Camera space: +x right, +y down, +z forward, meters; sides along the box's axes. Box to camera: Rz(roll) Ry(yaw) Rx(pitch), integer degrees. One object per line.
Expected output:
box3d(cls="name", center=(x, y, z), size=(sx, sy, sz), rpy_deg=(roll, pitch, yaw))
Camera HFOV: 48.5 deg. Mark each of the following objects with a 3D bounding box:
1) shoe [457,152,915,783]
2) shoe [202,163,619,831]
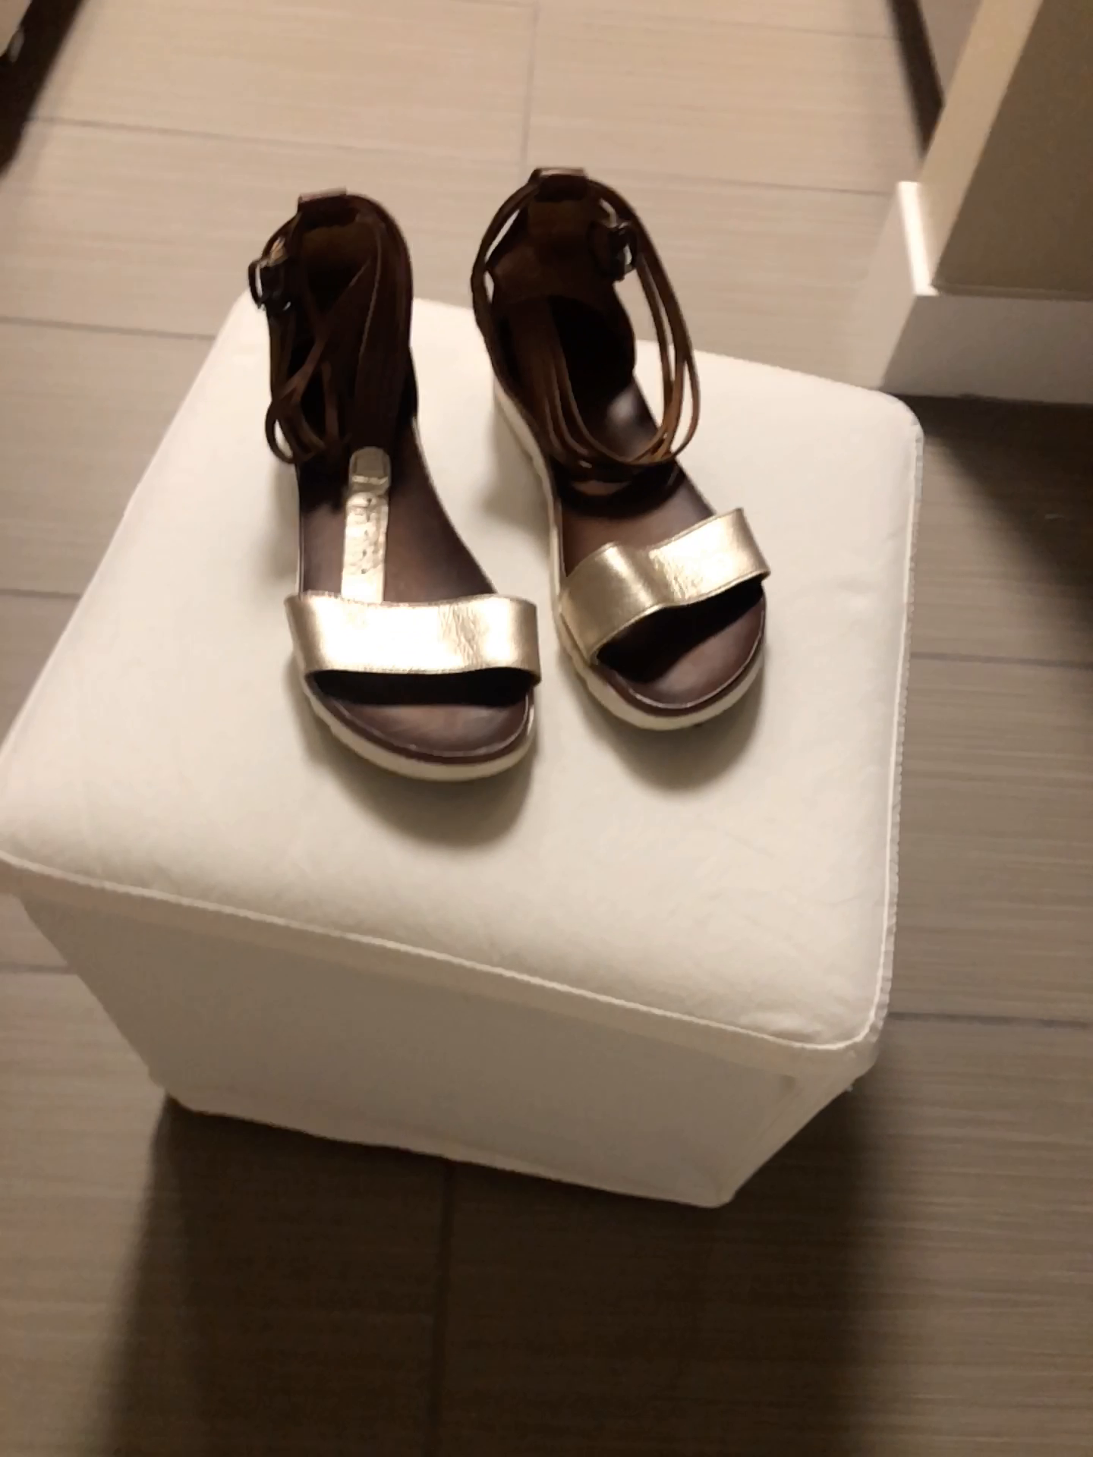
box3d(cls="shoe", center=(0.042, -0.120, 0.516), size=(0.110, 0.090, 0.261), rpy_deg=(-10, 60, -10))
box3d(cls="shoe", center=(-0.063, -0.103, 0.491), size=(0.110, 0.090, 0.261), rpy_deg=(-10, 60, -10))
